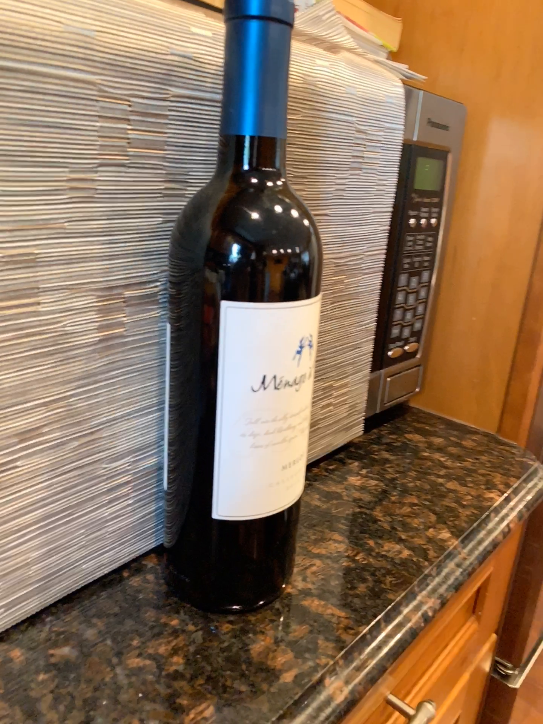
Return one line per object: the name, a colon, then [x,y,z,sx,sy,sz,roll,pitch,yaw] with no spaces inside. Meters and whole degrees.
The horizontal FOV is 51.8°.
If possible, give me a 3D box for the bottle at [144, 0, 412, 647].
bottle: [-0.007,-0.024,0.285,0.080,0.309,0.080,4,17,-1]
